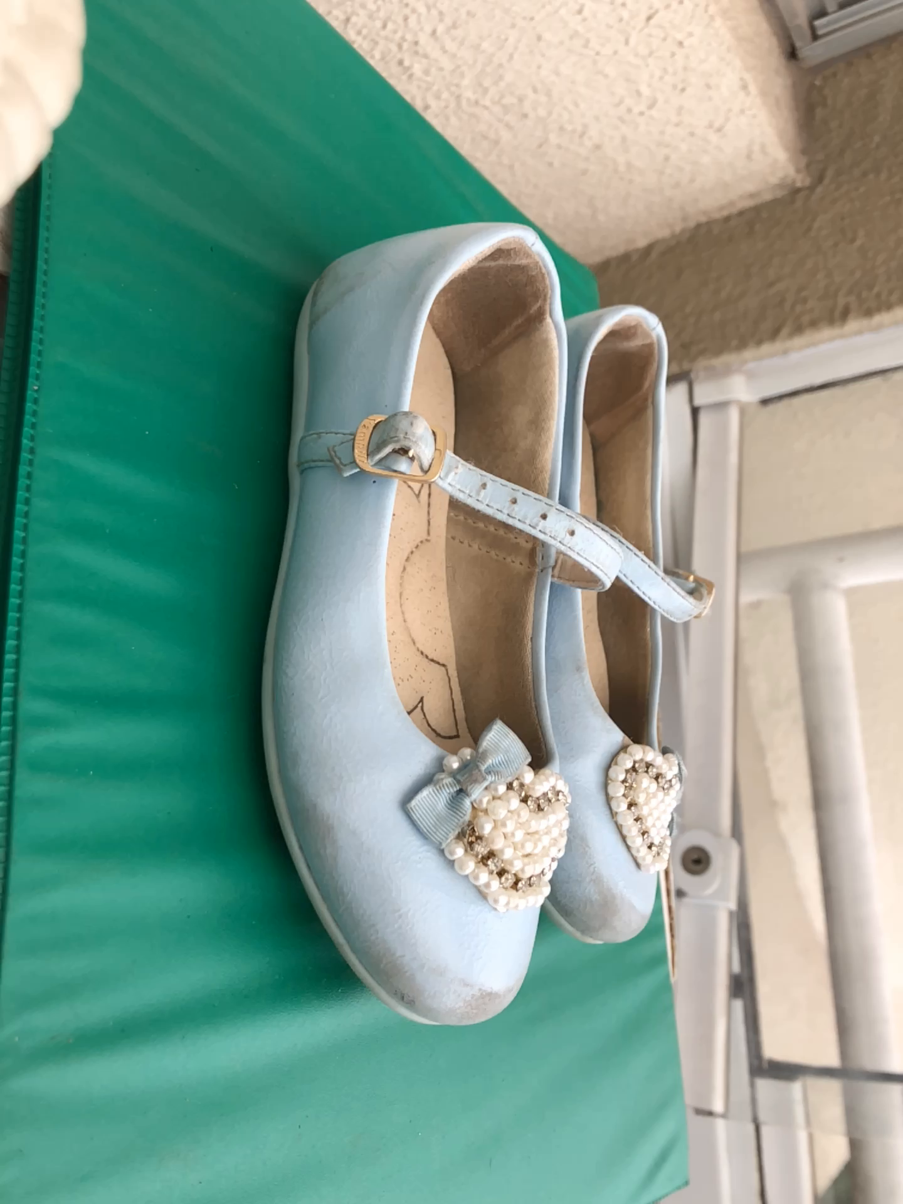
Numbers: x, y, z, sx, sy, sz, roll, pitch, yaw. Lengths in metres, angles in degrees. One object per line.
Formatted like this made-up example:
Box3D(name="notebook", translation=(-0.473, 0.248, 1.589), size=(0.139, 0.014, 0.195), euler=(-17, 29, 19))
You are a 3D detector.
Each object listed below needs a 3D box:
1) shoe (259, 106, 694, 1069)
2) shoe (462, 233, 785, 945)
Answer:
Box3D(name="shoe", translation=(0.008, -0.001, 0.221), size=(0.087, 0.050, 0.170), euler=(19, 65, -56))
Box3D(name="shoe", translation=(0.048, 0.001, 0.279), size=(0.080, 0.050, 0.170), euler=(19, 65, -56))
